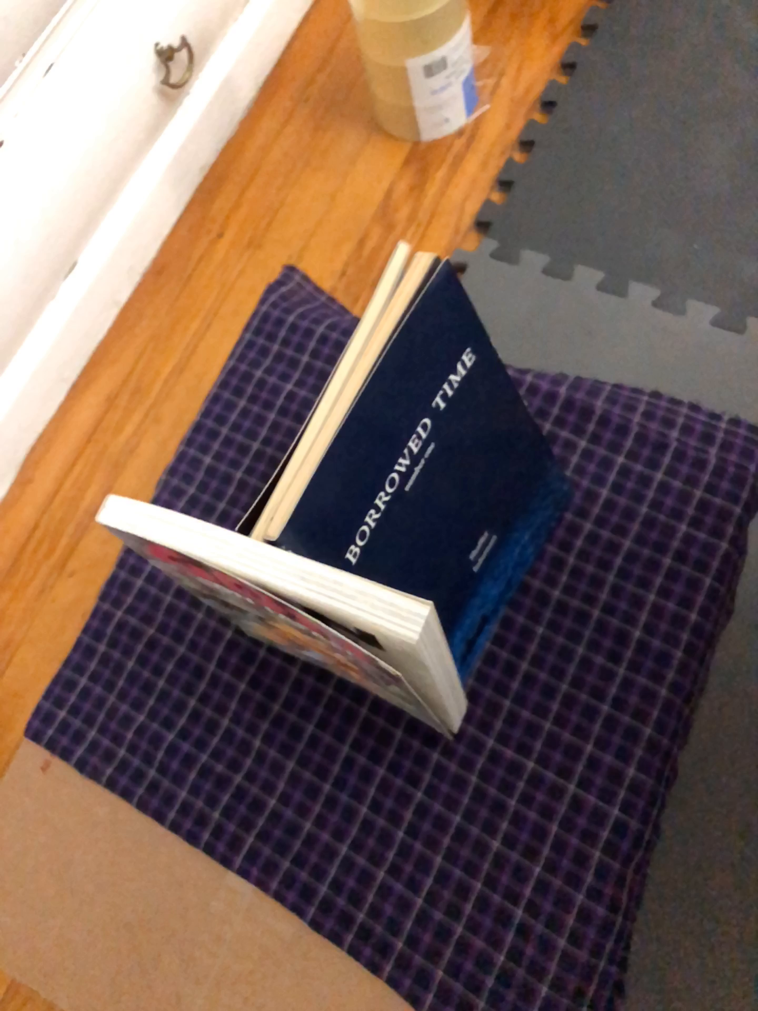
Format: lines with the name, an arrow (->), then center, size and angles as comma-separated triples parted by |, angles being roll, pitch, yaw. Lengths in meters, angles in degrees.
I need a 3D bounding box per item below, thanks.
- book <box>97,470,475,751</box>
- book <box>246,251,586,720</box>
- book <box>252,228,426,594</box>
book -> -0.029, 0.059, 0.393 | 0.140, 0.189, 0.020 | 19, 68, 18
book -> 0.036, 0.005, 0.408 | 0.010, 0.199, 0.150 | 17, 71, 39
book -> -0.023, -0.031, 0.431 | 0.010, 0.200, 0.140 | 25, 77, 0
